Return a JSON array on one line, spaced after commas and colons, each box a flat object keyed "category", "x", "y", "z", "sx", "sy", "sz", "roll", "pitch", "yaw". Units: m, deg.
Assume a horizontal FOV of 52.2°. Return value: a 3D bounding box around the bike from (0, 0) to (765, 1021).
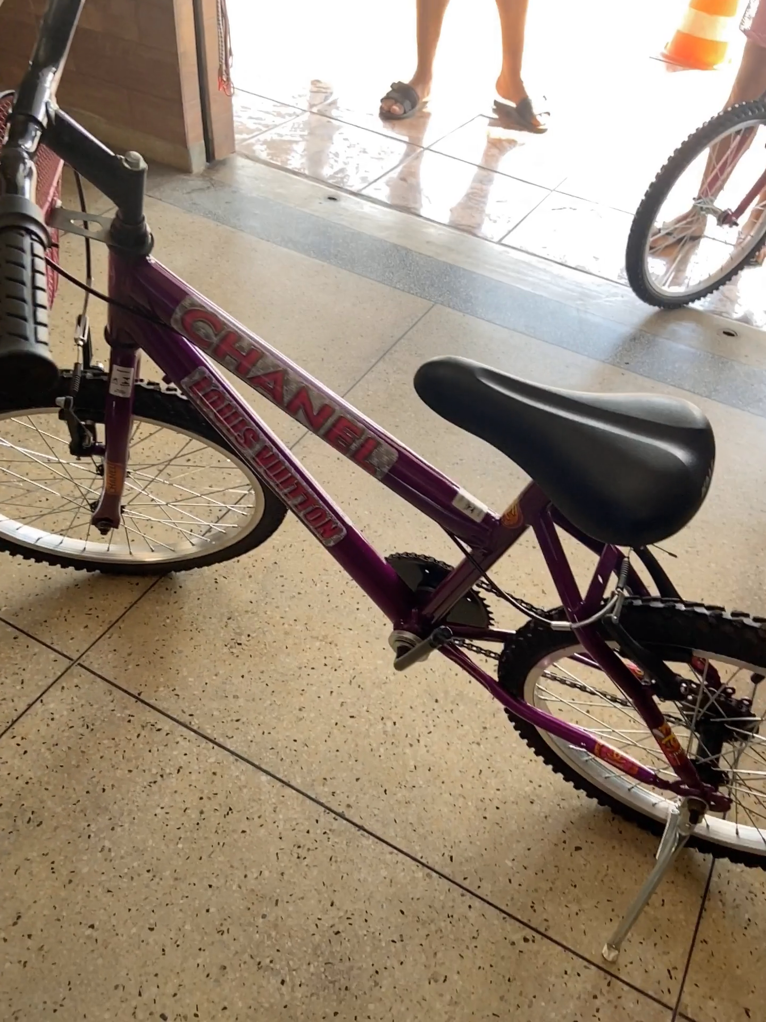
[{"category": "bike", "x": -0.009, "y": 0.048, "z": 0.784, "sx": 1.261, "sy": 0.933, "sz": 0.618, "roll": 18, "pitch": 47, "yaw": 12}]
